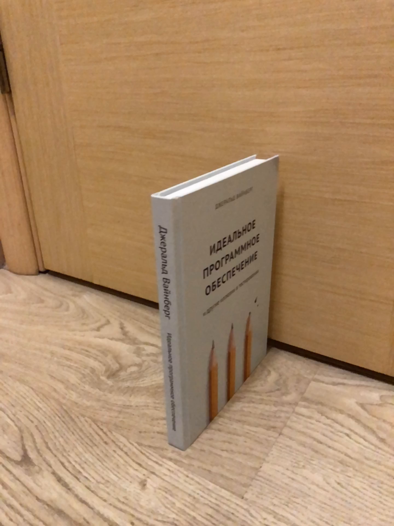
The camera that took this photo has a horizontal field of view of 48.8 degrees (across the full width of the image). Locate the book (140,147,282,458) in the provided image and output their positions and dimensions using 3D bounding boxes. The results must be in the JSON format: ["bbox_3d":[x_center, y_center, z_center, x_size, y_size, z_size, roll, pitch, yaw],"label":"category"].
[{"bbox_3d":[0.021,0.024,0.360,0.023,0.209,0.163,14,28,30],"label":"book"}]
